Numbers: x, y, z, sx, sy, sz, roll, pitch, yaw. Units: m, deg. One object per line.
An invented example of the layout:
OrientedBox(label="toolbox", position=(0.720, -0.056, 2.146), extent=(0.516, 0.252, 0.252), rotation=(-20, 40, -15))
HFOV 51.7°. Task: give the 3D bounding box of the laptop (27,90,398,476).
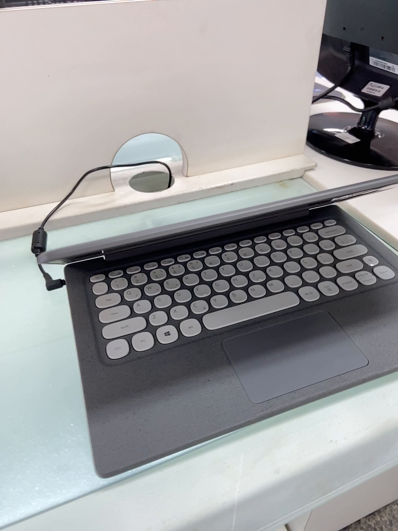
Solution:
OrientedBox(label="laptop", position=(0.050, -0.023, 0.328), extent=(0.317, 0.132, 0.212), rotation=(-14, 41, -15))
